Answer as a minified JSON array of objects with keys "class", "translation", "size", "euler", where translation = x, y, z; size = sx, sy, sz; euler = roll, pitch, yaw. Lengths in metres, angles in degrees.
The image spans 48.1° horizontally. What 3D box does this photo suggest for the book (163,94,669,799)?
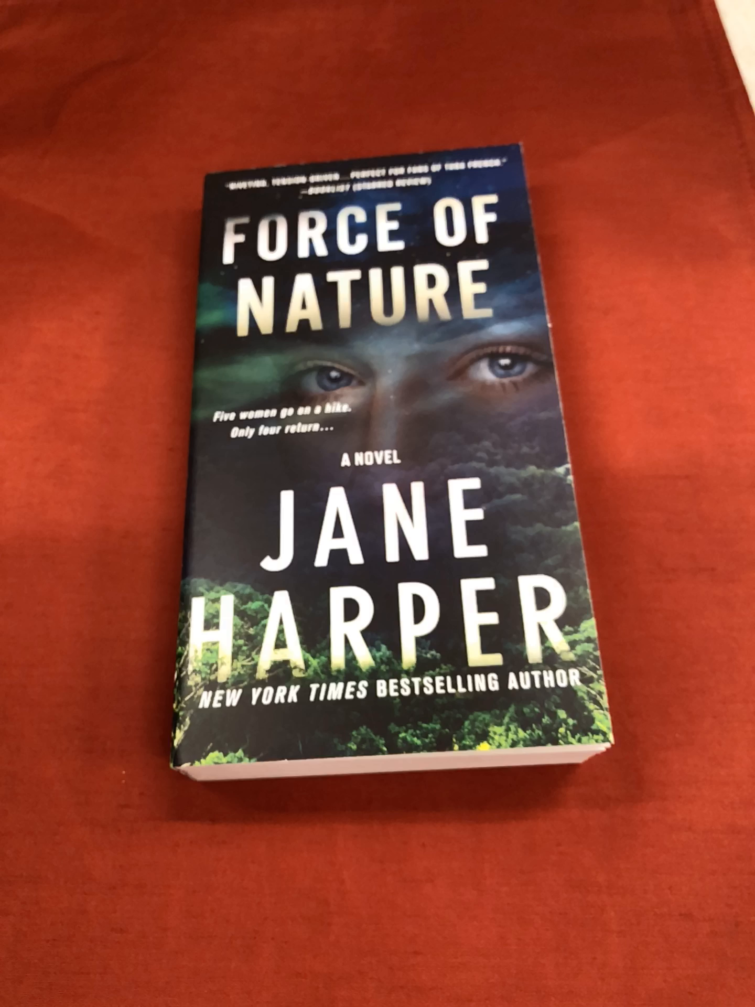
[{"class":"book","translation":[0.002,-0.018,0.236],"size":[0.110,0.050,0.180],"euler":[-5,71,2]}]
